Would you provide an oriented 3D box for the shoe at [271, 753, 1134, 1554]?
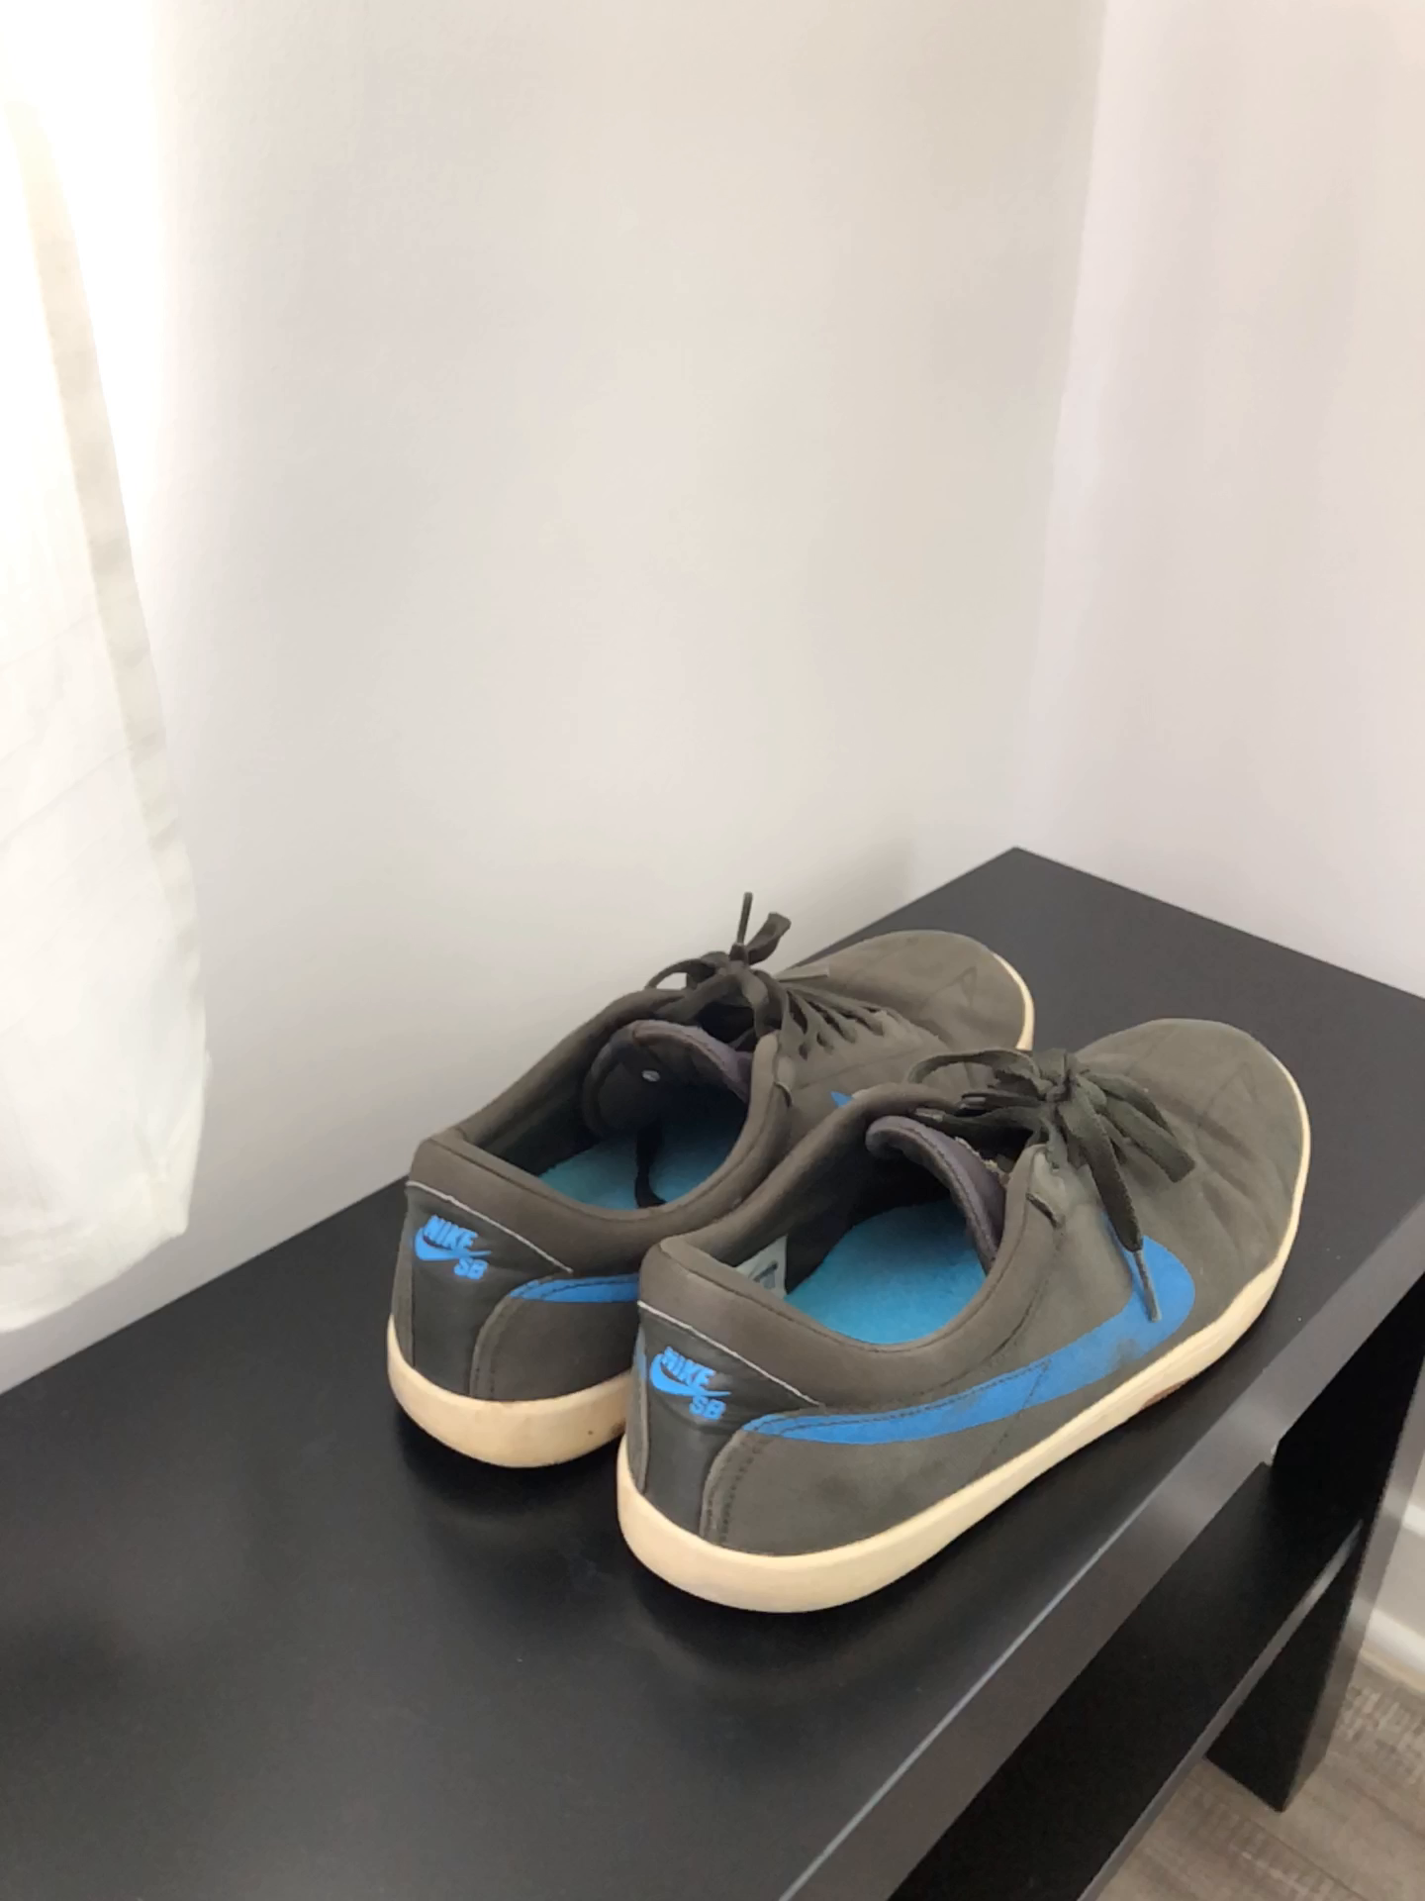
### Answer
[{"bbox_3d":[0.014,0.040,0.500,0.100,0.110,0.280,23,36,34],"label":"shoe"}]

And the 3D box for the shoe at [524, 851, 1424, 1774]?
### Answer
[{"bbox_3d":[0.089,0.078,0.455,0.280,0.110,0.100,-25,38,-38],"label":"shoe"}]
